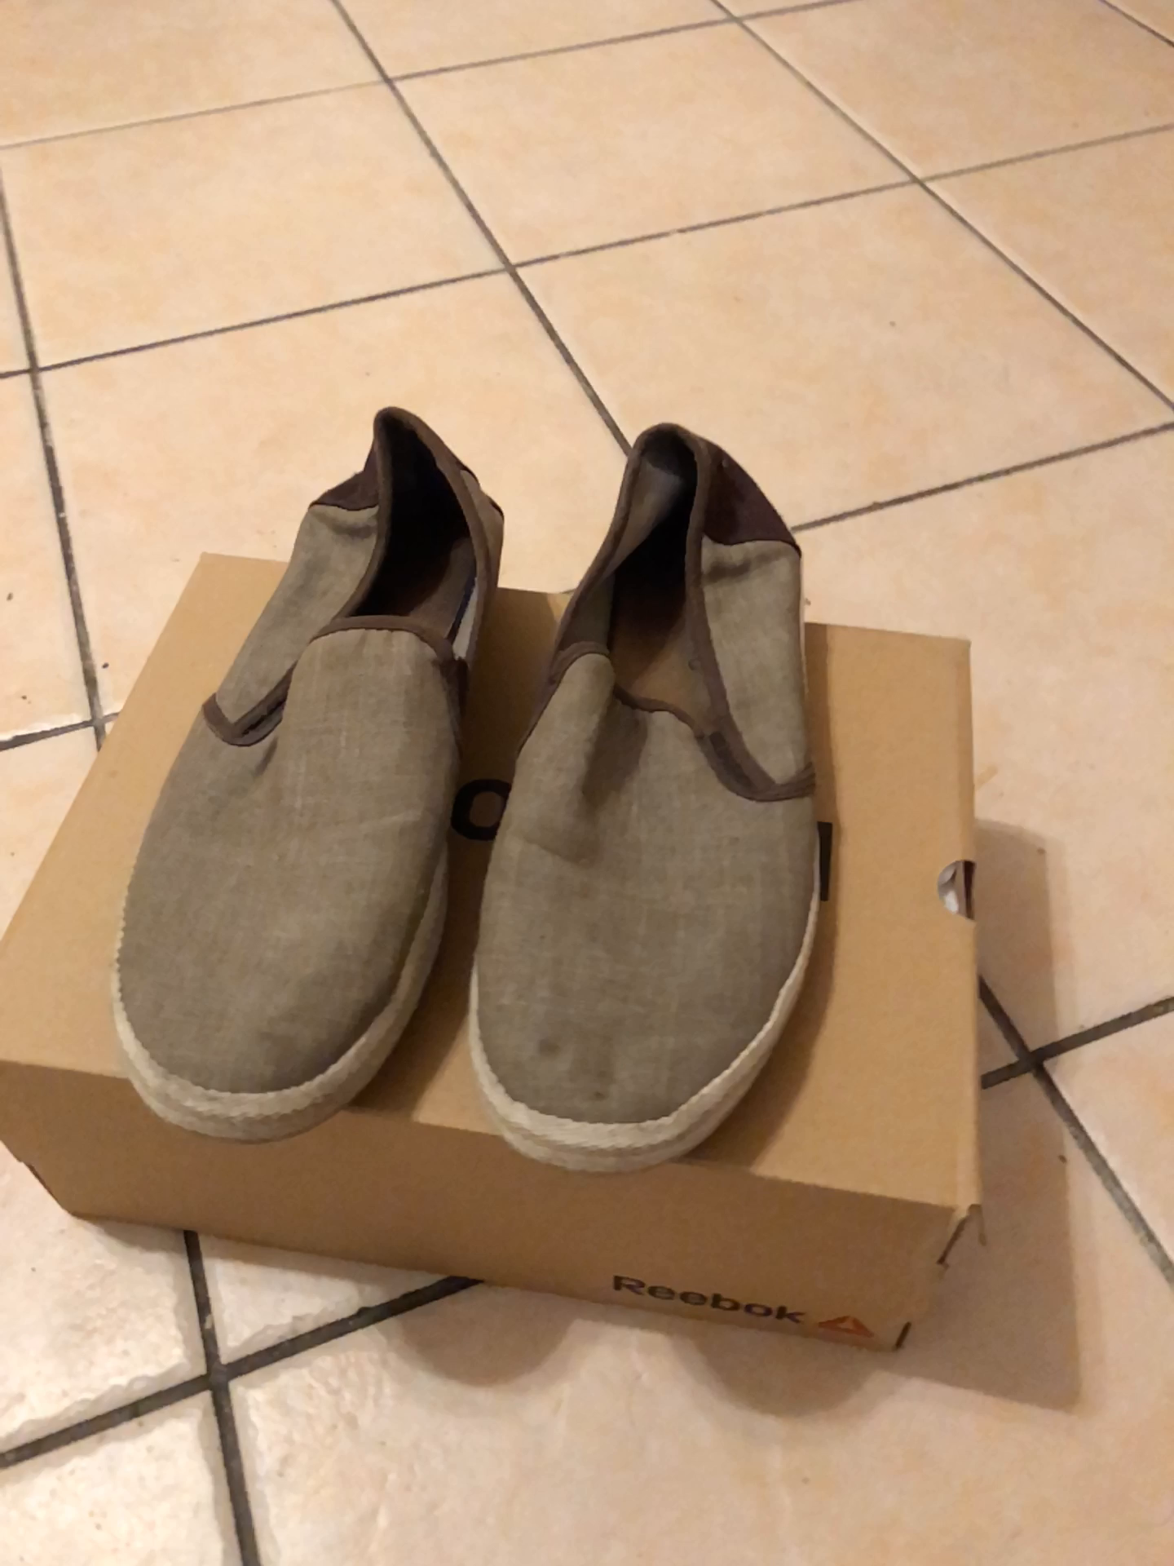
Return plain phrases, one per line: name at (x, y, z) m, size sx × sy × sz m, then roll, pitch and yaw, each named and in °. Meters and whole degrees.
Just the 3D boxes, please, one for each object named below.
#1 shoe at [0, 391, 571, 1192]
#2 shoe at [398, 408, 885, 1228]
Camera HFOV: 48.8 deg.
shoe at (-0.084, -0.020, 0.451) m, size 0.110 × 0.069 × 0.294 m, roll 6°, pitch 50°, yaw 6°
shoe at (0.032, -0.010, 0.420) m, size 0.100 × 0.069 × 0.272 m, roll 9°, pitch 50°, yaw 8°
